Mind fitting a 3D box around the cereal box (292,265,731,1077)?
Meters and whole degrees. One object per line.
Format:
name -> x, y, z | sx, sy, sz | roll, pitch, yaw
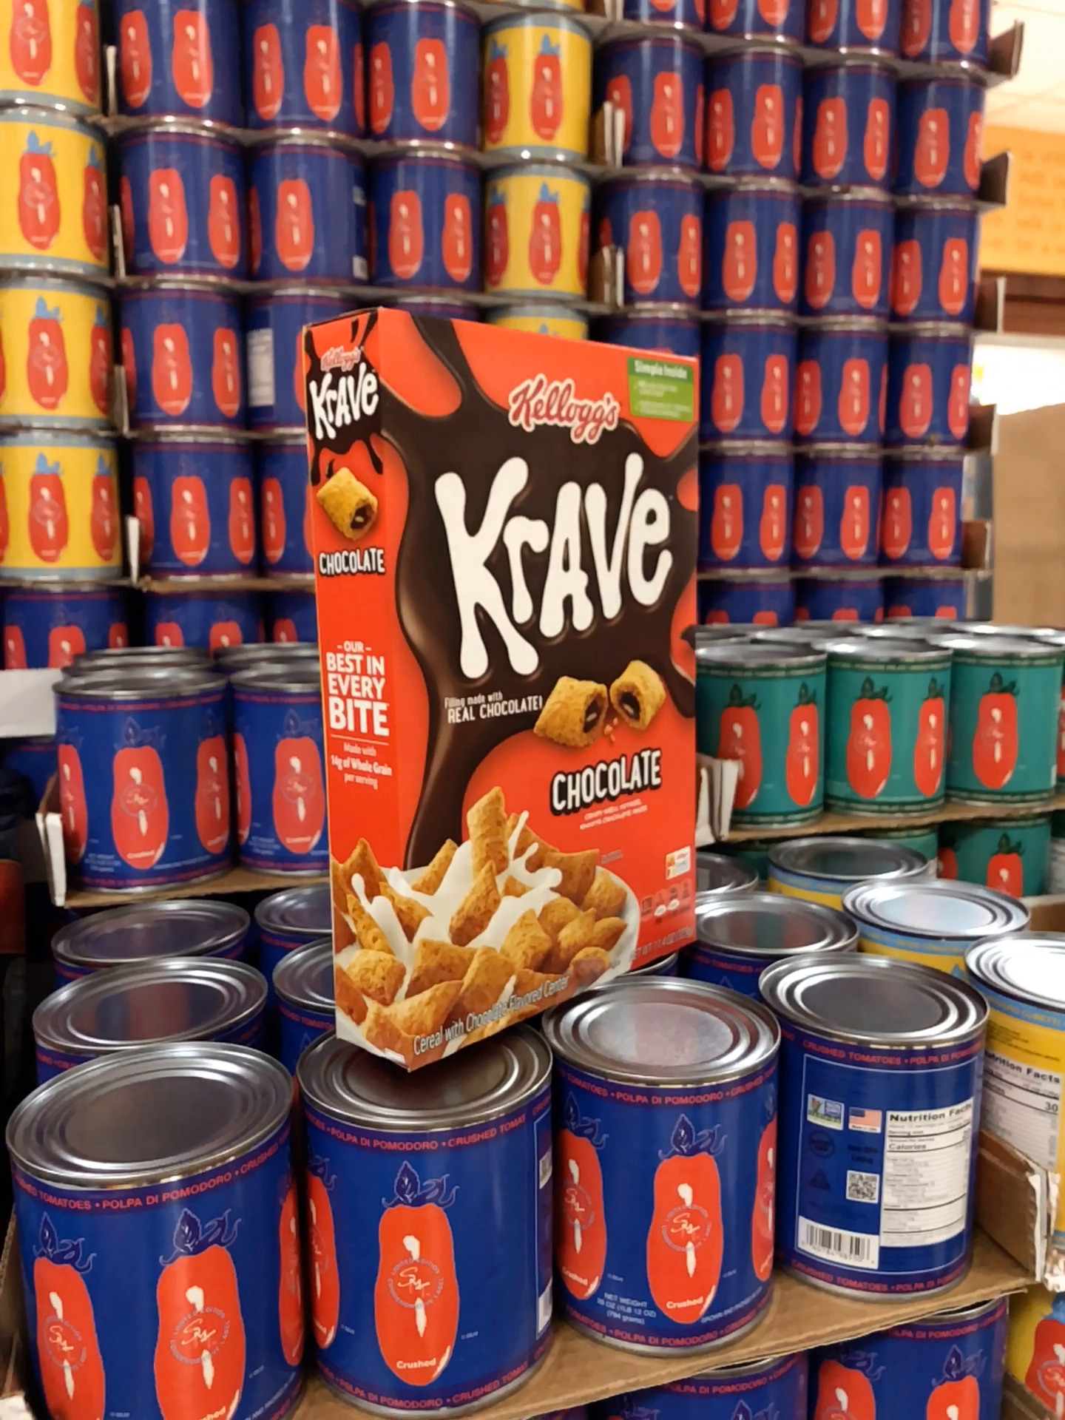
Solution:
cereal box -> 0.004, -0.022, 0.516 | 0.060, 0.289, 0.211 | 6, 10, 41
